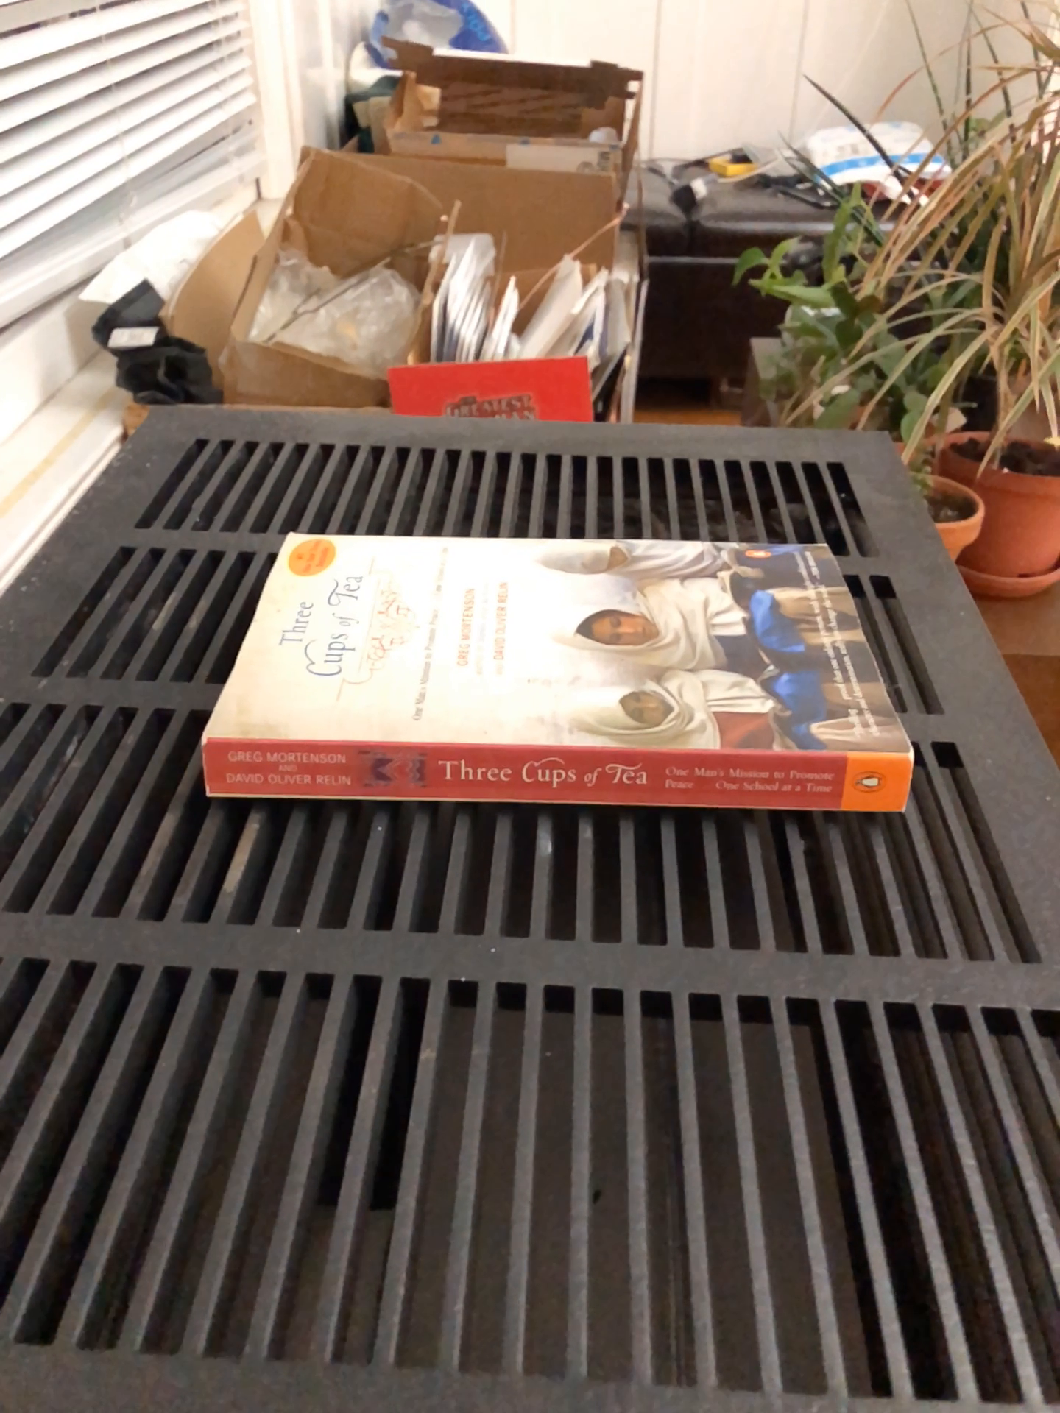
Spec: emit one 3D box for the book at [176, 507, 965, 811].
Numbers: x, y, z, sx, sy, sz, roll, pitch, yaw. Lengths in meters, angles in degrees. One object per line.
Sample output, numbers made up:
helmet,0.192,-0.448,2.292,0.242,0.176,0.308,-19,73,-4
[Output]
book,0.011,-0.022,0.393,0.220,0.030,0.141,0,35,-1
